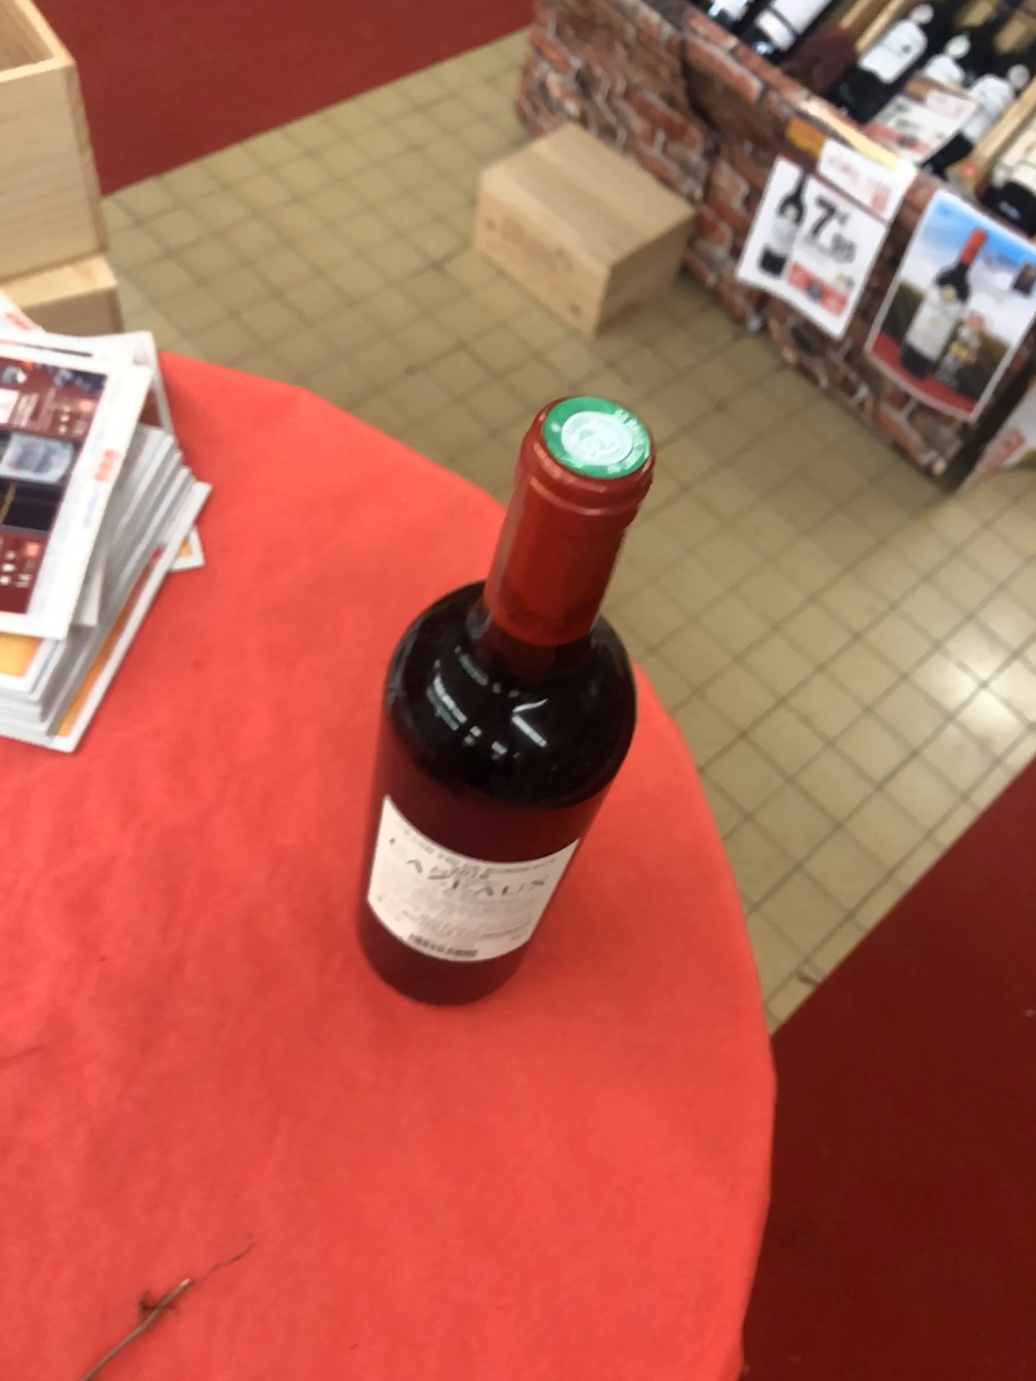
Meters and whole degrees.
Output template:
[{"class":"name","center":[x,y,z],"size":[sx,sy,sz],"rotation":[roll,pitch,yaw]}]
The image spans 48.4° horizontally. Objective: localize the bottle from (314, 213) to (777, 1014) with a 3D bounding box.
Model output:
[{"class":"bottle","center":[-0.011,0.013,0.361],"size":[0.080,0.298,0.080],"rotation":[4,59,-7]}]
